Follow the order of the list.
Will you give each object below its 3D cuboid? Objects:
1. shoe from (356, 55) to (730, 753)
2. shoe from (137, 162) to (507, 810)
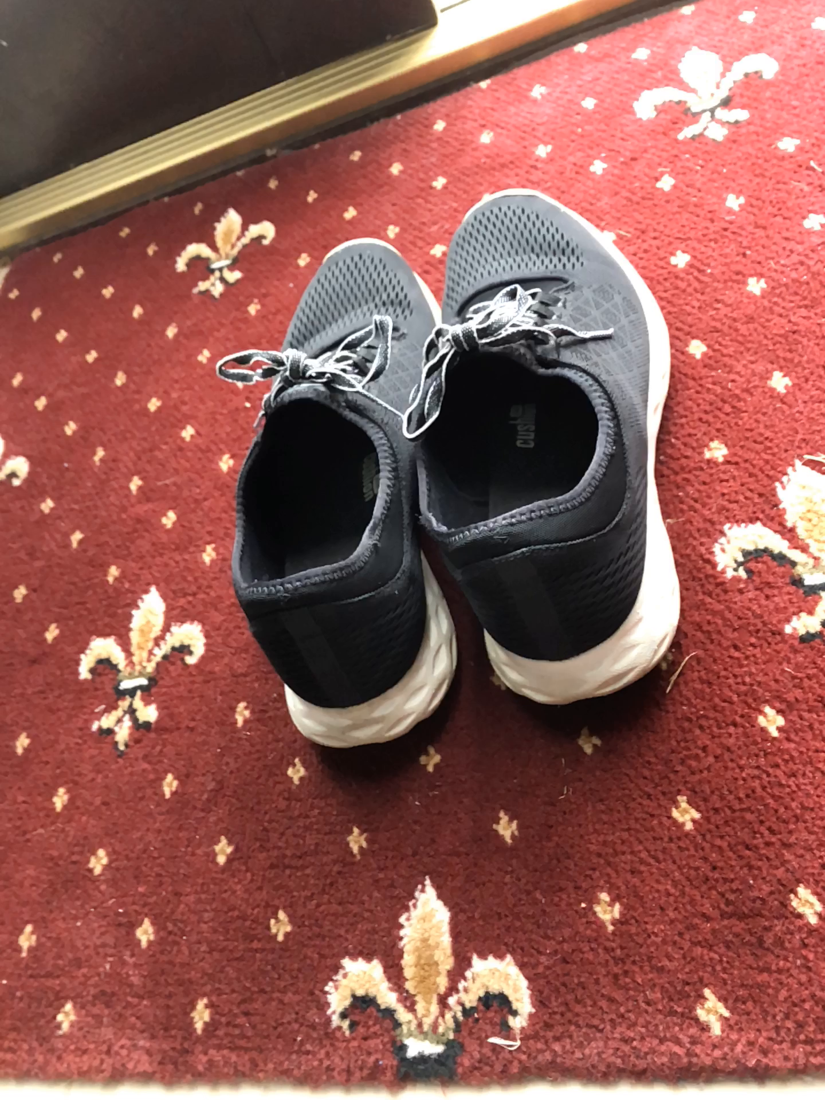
[{"bbox_3d":[0.053,-0.068,0.388,0.100,0.109,0.271,-12,54,20],"label":"shoe"},{"bbox_3d":[-0.030,-0.037,0.424,0.100,0.109,0.271,-14,53,19],"label":"shoe"}]
